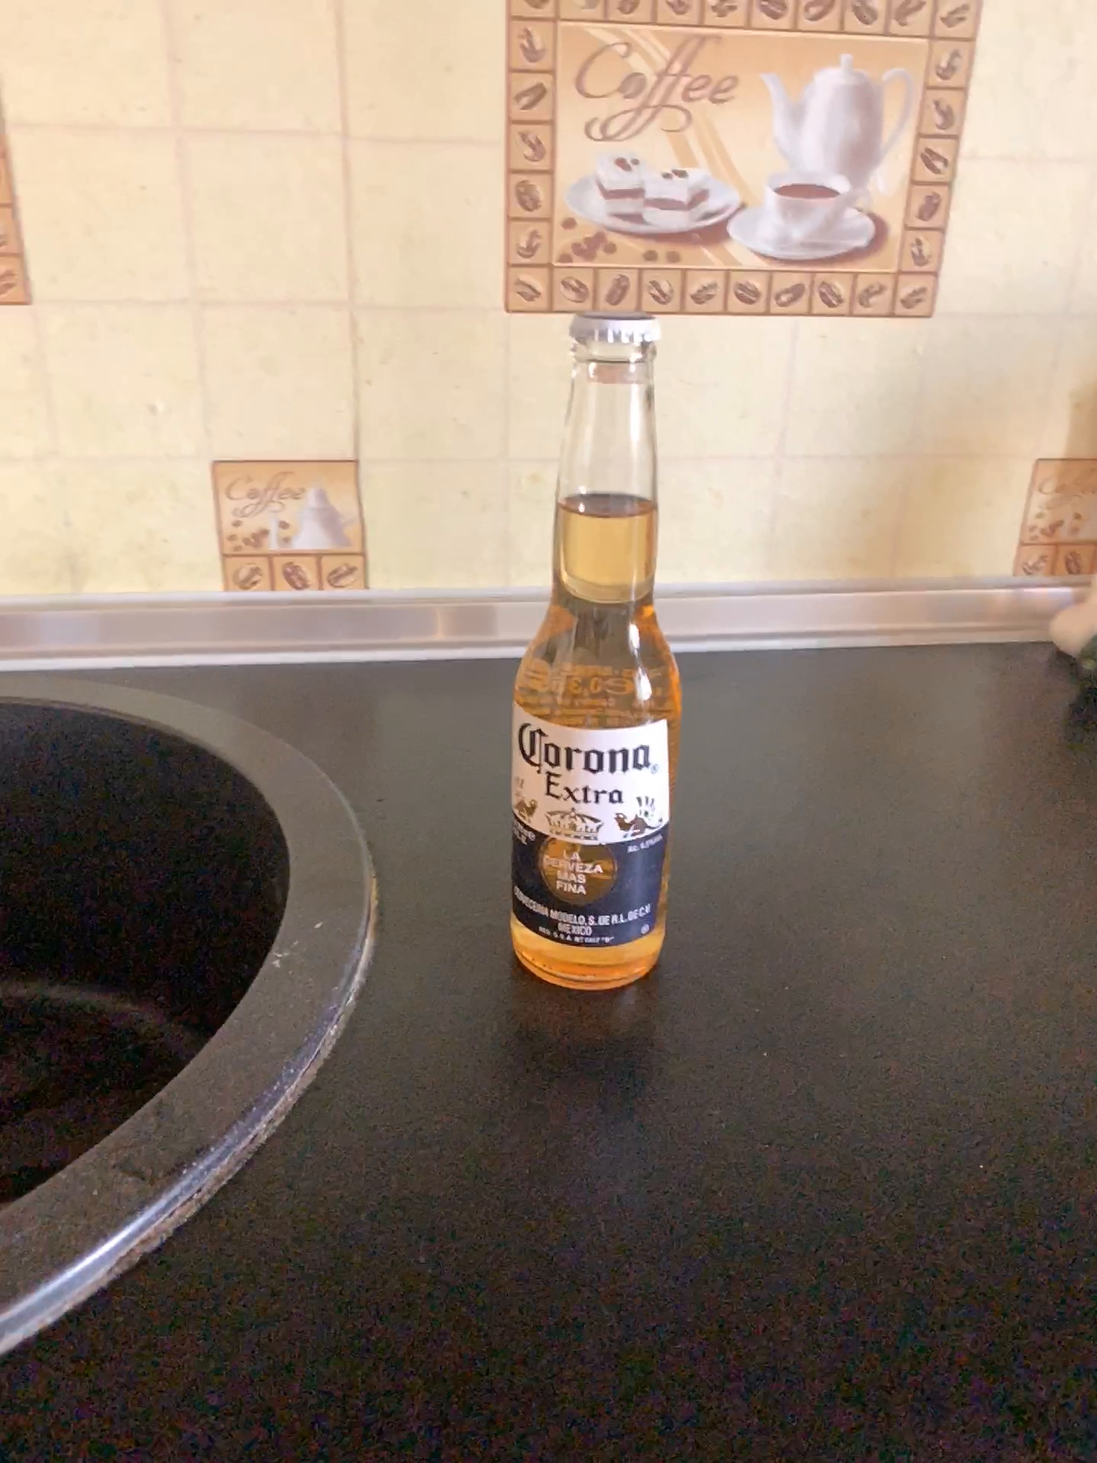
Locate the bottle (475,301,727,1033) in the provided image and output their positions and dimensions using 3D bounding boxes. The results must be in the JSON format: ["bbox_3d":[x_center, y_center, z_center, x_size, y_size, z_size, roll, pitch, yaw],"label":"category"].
[{"bbox_3d":[0.016,-0.018,0.406,0.070,0.249,0.070,1,25,-1],"label":"bottle"}]
